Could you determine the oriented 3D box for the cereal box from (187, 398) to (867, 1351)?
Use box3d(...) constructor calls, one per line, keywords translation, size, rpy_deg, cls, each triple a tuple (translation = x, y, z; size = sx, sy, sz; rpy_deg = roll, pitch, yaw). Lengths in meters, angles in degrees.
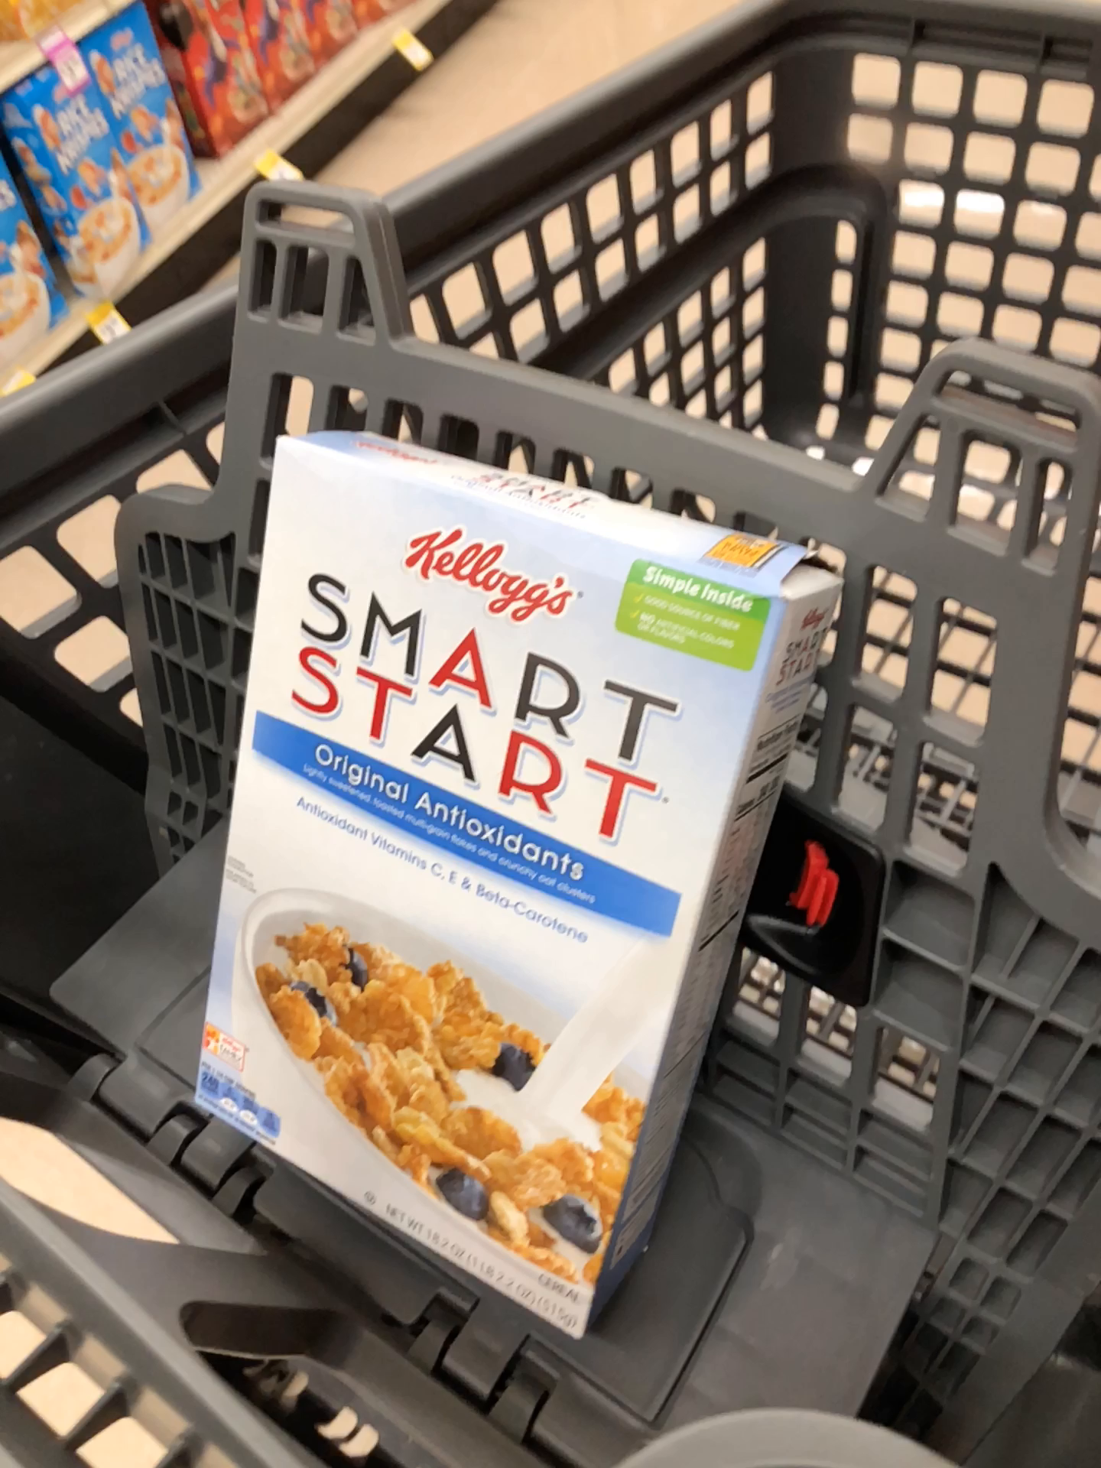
box3d(translation=(-0.027, 0.047, 0.463), size=(0.200, 0.300, 0.070), rpy_deg=(22, 23, 24), cls="cereal box")
